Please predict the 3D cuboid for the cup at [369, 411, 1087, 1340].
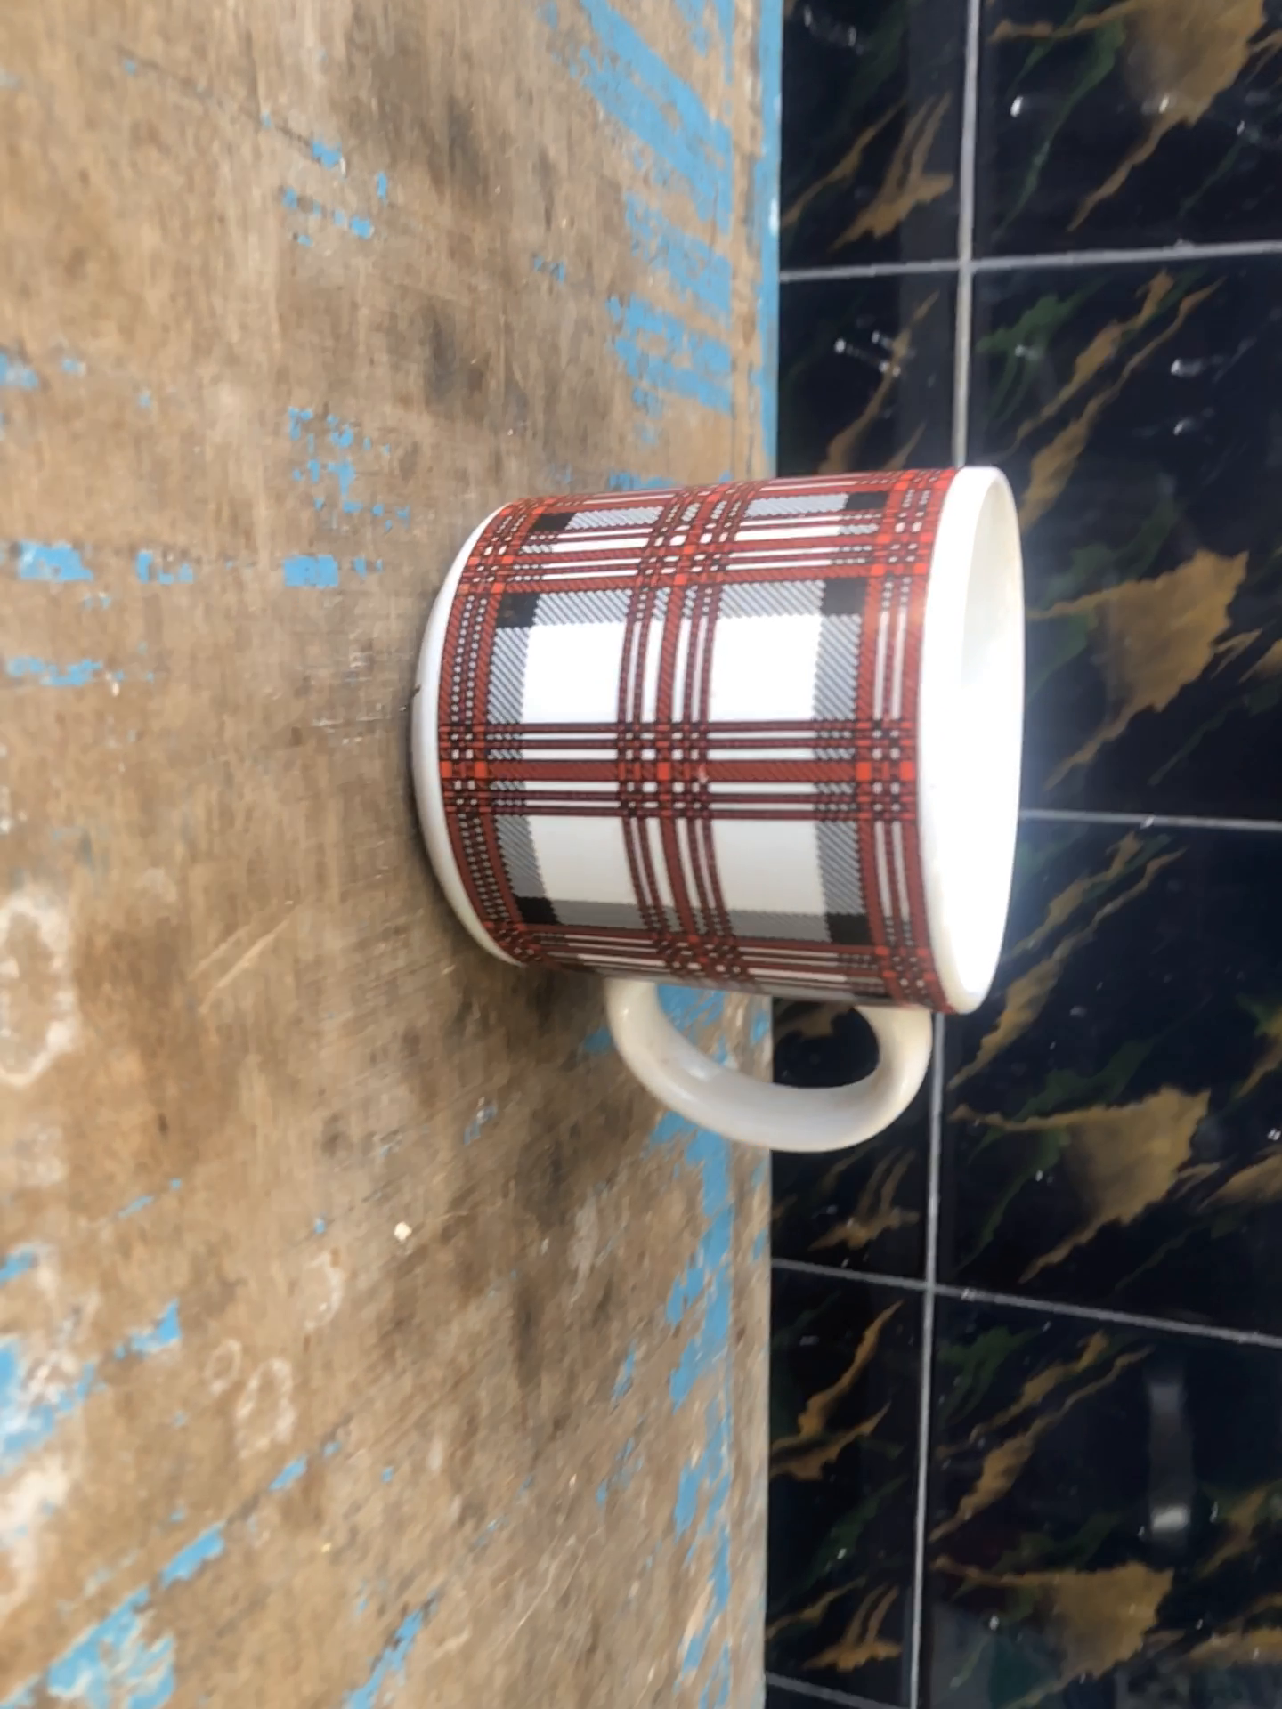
[{"bbox_3d":[0.017,-0.003,0.203,0.060,0.079,0.110,-38,129,-64],"label":"cup"}]
